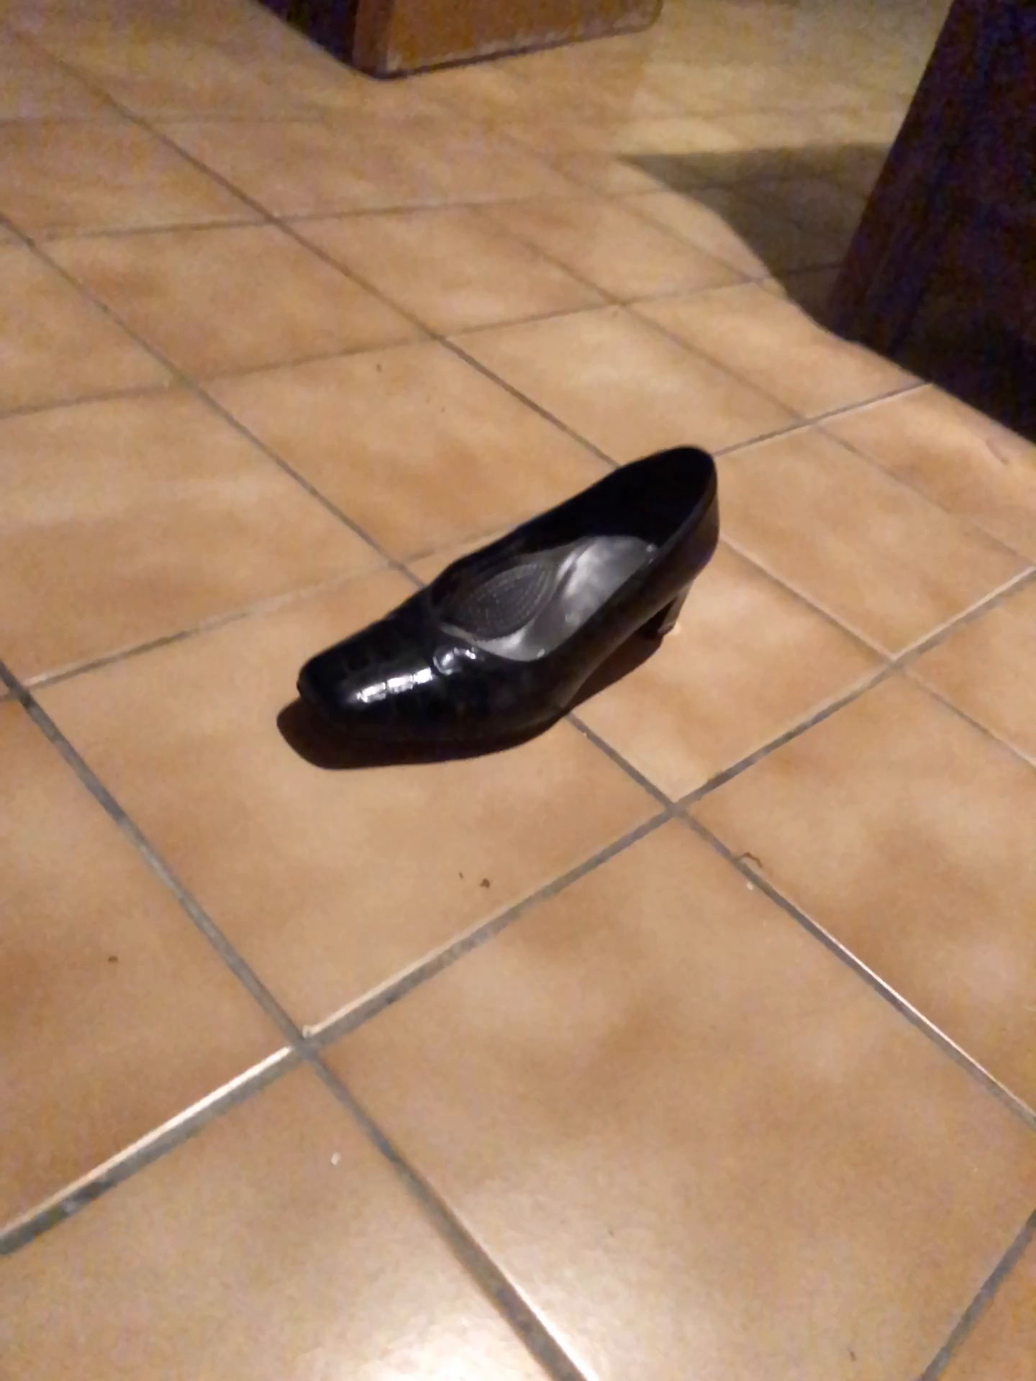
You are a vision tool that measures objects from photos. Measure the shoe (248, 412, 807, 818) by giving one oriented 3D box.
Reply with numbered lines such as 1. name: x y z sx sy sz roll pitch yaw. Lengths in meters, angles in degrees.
1. shoe: 0.011 -0.049 0.540 0.252 0.089 0.100 -23 54 -39
